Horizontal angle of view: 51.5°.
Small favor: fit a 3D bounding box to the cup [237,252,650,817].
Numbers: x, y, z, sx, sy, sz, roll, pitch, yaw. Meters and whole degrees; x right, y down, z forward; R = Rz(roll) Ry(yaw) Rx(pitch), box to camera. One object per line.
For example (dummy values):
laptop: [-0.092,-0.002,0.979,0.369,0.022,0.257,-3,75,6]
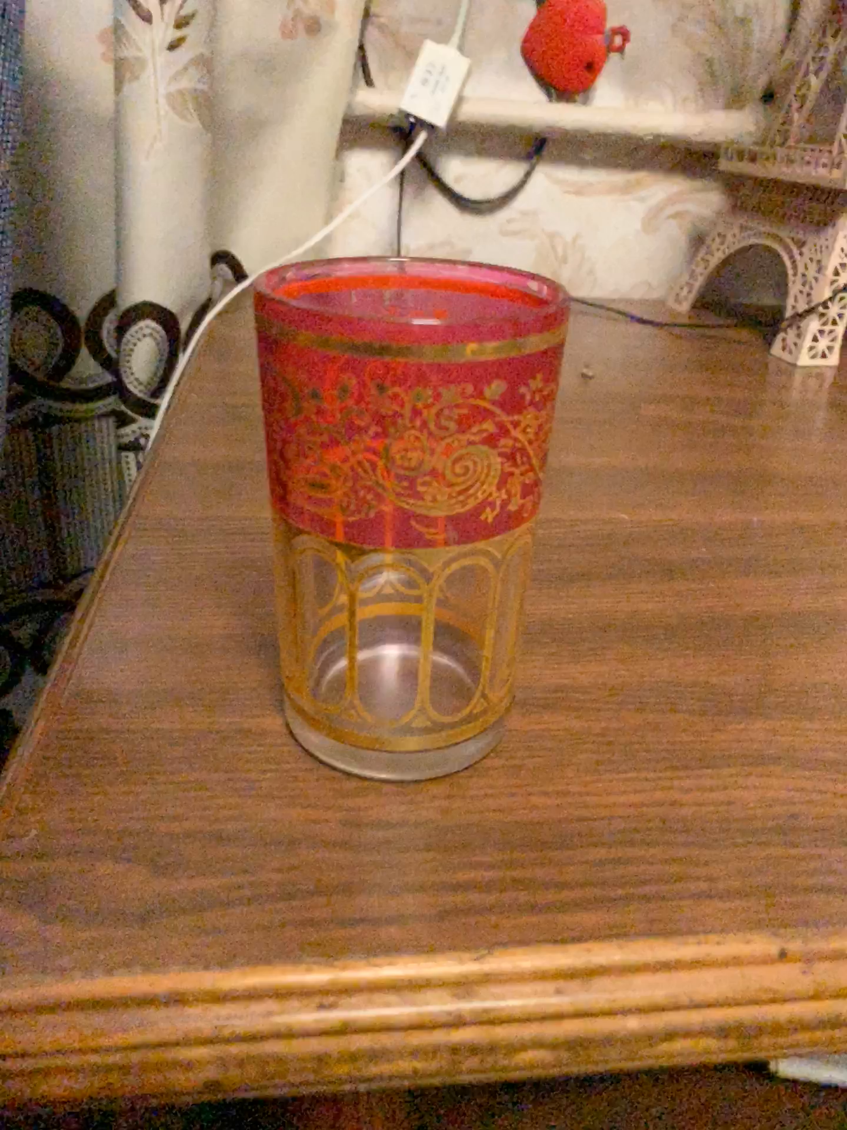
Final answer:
cup: [-0.003,-0.011,0.192,0.066,0.099,0.070,2,26,-1]
